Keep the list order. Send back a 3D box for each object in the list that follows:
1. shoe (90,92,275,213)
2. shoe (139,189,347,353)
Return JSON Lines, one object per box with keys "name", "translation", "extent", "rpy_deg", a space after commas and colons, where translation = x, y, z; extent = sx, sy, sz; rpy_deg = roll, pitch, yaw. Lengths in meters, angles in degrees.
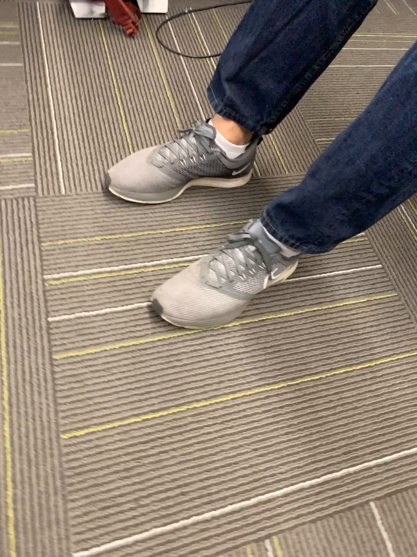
{"name": "shoe", "translation": [-0.049, -0.231, 0.773], "extent": [0.290, 0.123, 0.120], "rpy_deg": [-14, 64, -18]}
{"name": "shoe", "translation": [0.049, -0.016, 0.677], "extent": [0.290, 0.123, 0.120], "rpy_deg": [-23, 67, -22]}
